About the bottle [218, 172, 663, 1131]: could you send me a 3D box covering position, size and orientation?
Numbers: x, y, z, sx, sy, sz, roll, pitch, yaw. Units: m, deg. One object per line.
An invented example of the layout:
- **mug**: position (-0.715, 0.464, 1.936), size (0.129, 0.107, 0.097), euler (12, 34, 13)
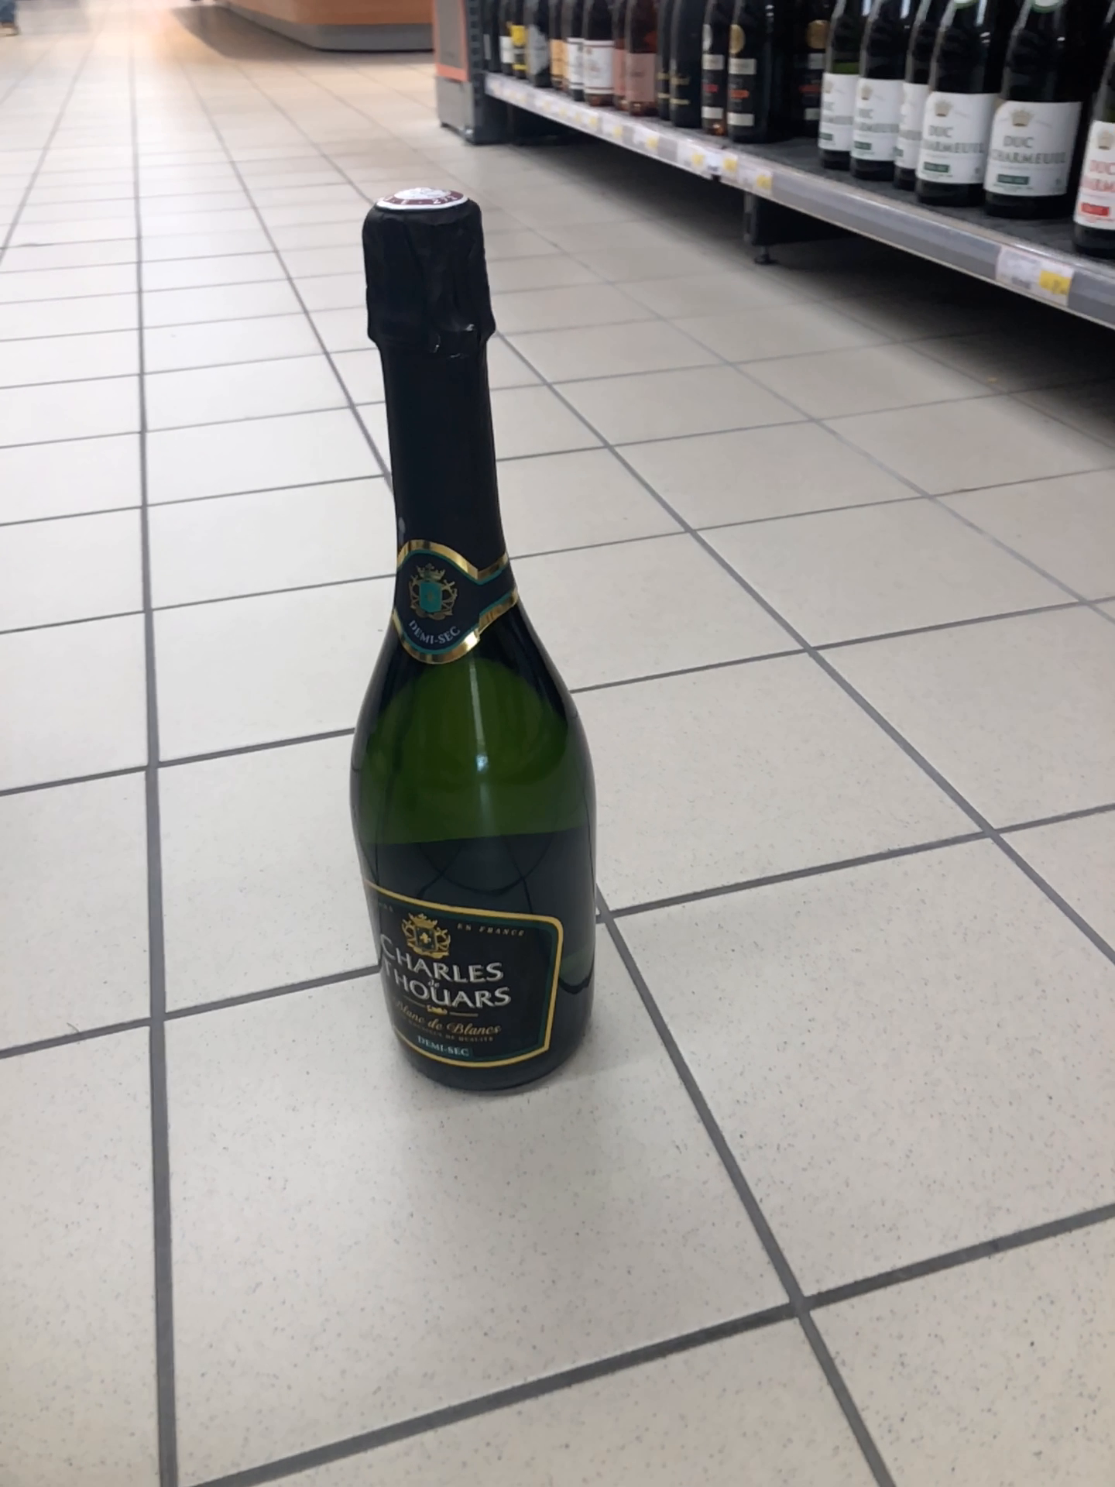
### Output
- **bottle**: position (-0.025, -0.021, 0.422), size (0.090, 0.308, 0.091), euler (-1, 31, 1)
